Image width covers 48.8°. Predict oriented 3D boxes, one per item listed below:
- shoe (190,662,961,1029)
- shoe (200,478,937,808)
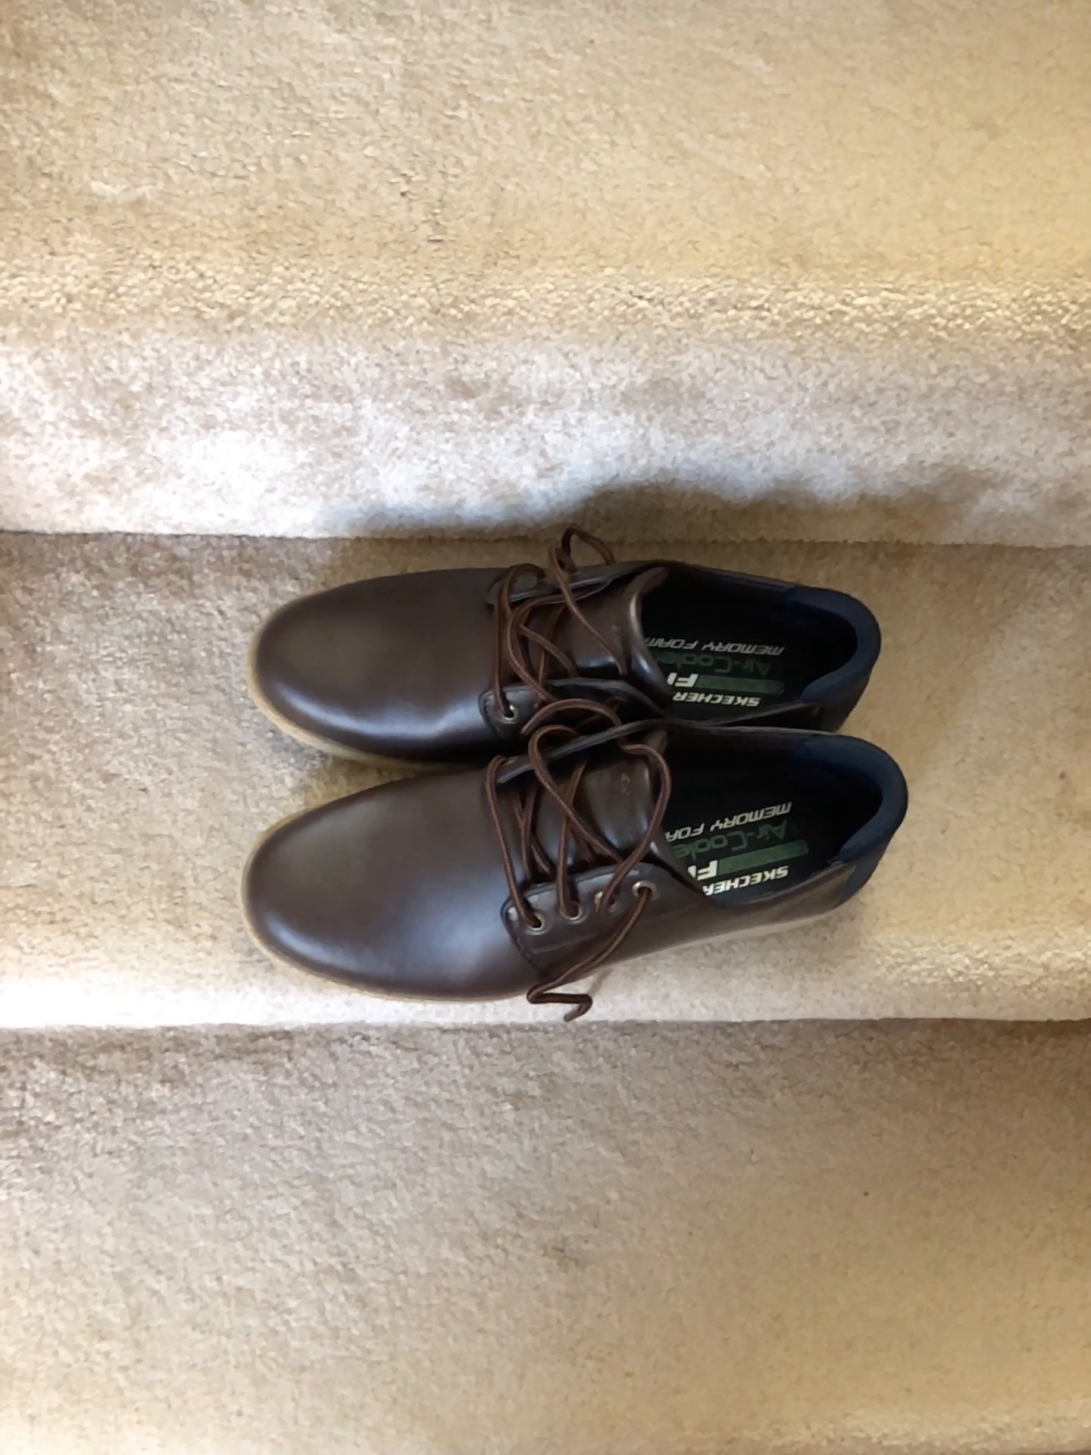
[{"bbox_3d":[0.008,0.053,0.526,0.300,0.090,0.110,-5,69,-4],"label":"shoe"},{"bbox_3d":[0.007,-0.037,0.550,0.300,0.090,0.110,-3,69,-3],"label":"shoe"}]
